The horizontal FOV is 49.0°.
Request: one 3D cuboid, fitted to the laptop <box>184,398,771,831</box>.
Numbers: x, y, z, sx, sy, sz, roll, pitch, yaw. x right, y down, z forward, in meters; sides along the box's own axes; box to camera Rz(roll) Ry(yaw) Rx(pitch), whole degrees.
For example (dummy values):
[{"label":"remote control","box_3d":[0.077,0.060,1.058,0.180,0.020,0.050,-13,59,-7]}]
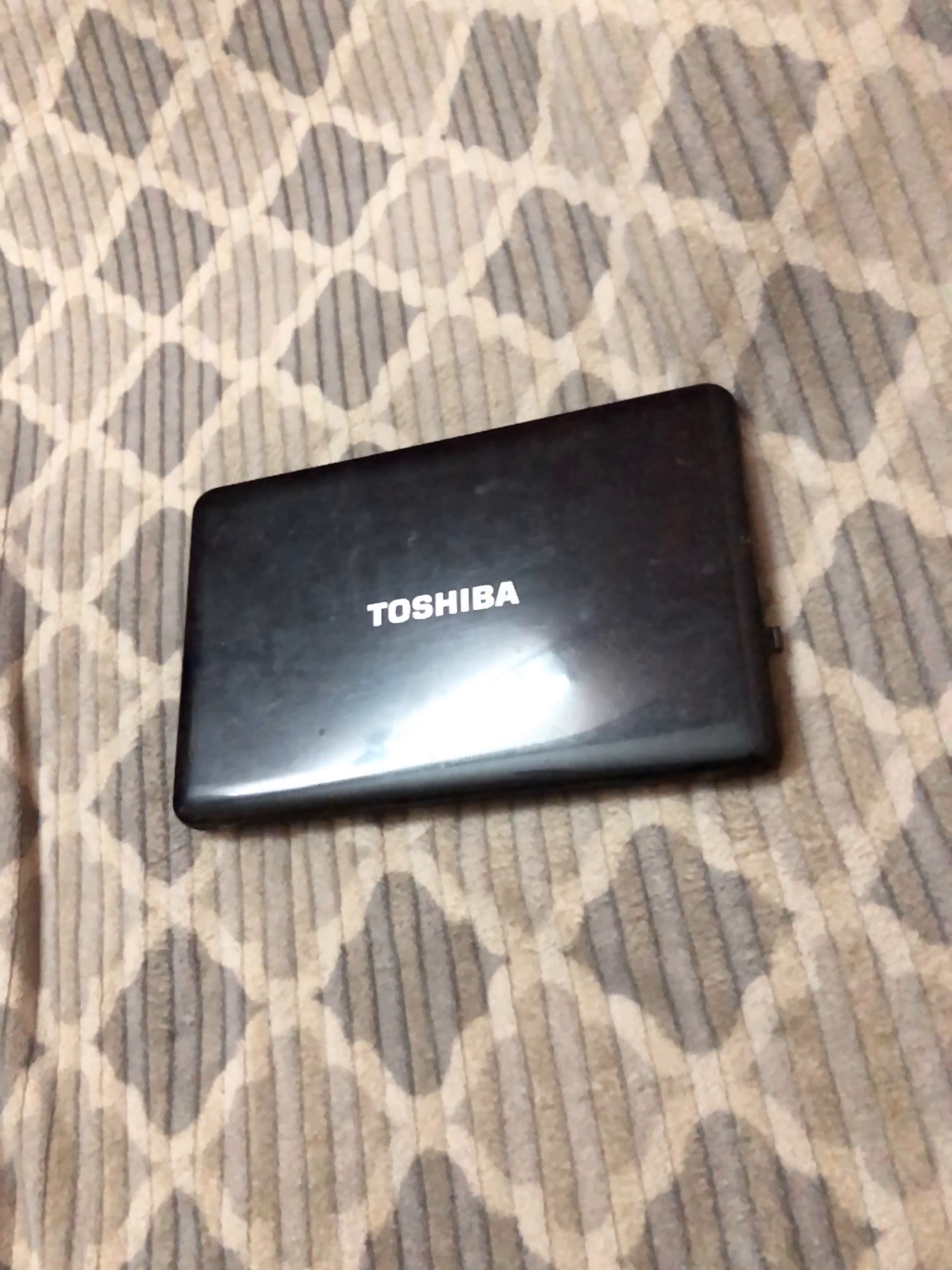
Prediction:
[{"label":"laptop","box_3d":[-0.016,-0.010,0.692,0.375,0.023,0.249,-9,65,18]}]
